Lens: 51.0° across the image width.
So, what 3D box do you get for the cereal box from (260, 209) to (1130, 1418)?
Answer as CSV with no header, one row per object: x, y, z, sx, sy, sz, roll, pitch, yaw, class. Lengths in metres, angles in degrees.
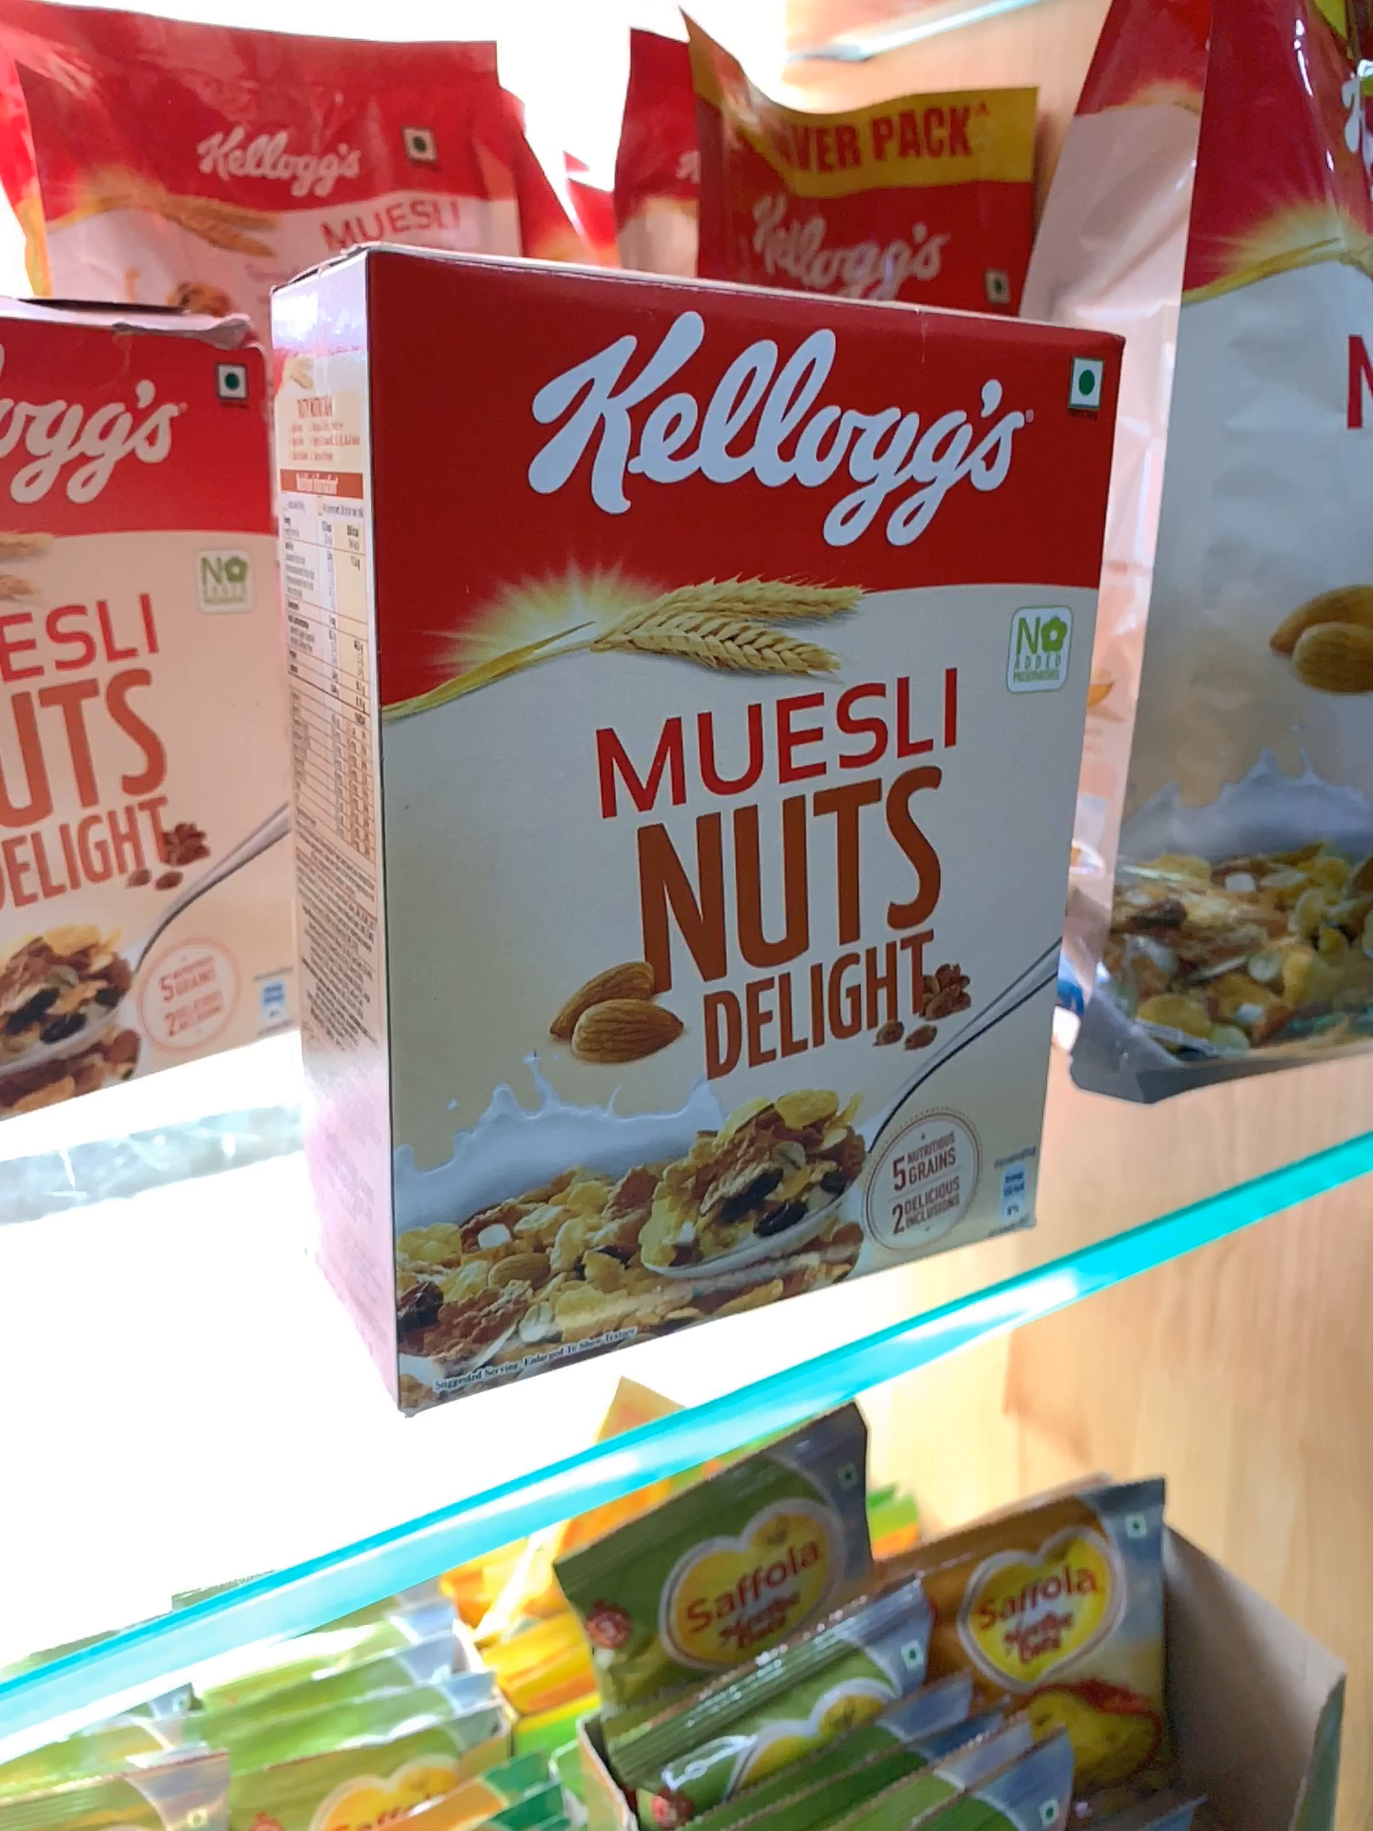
0.002,-0.019,0.250,0.130,0.169,0.050,-7,18,-29,cereal box
